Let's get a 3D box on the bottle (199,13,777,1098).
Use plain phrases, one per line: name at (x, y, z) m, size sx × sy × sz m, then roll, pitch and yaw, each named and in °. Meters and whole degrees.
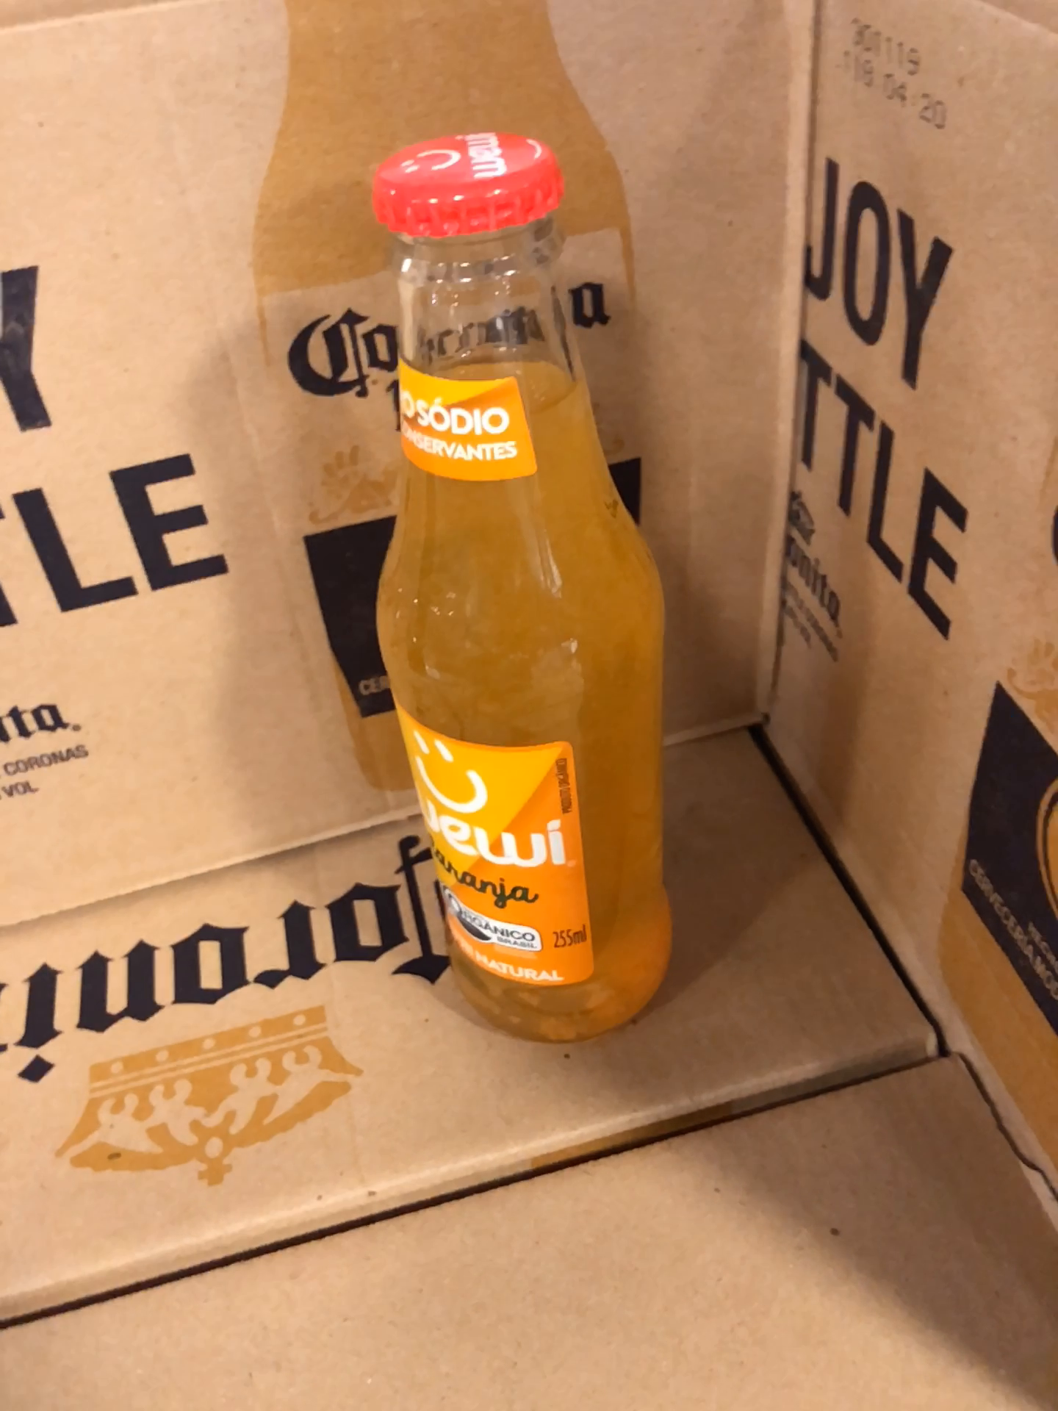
bottle at (0.003, -0.014, 0.240) m, size 0.060 × 0.208 × 0.060 m, roll -3°, pitch 41°, yaw 3°
